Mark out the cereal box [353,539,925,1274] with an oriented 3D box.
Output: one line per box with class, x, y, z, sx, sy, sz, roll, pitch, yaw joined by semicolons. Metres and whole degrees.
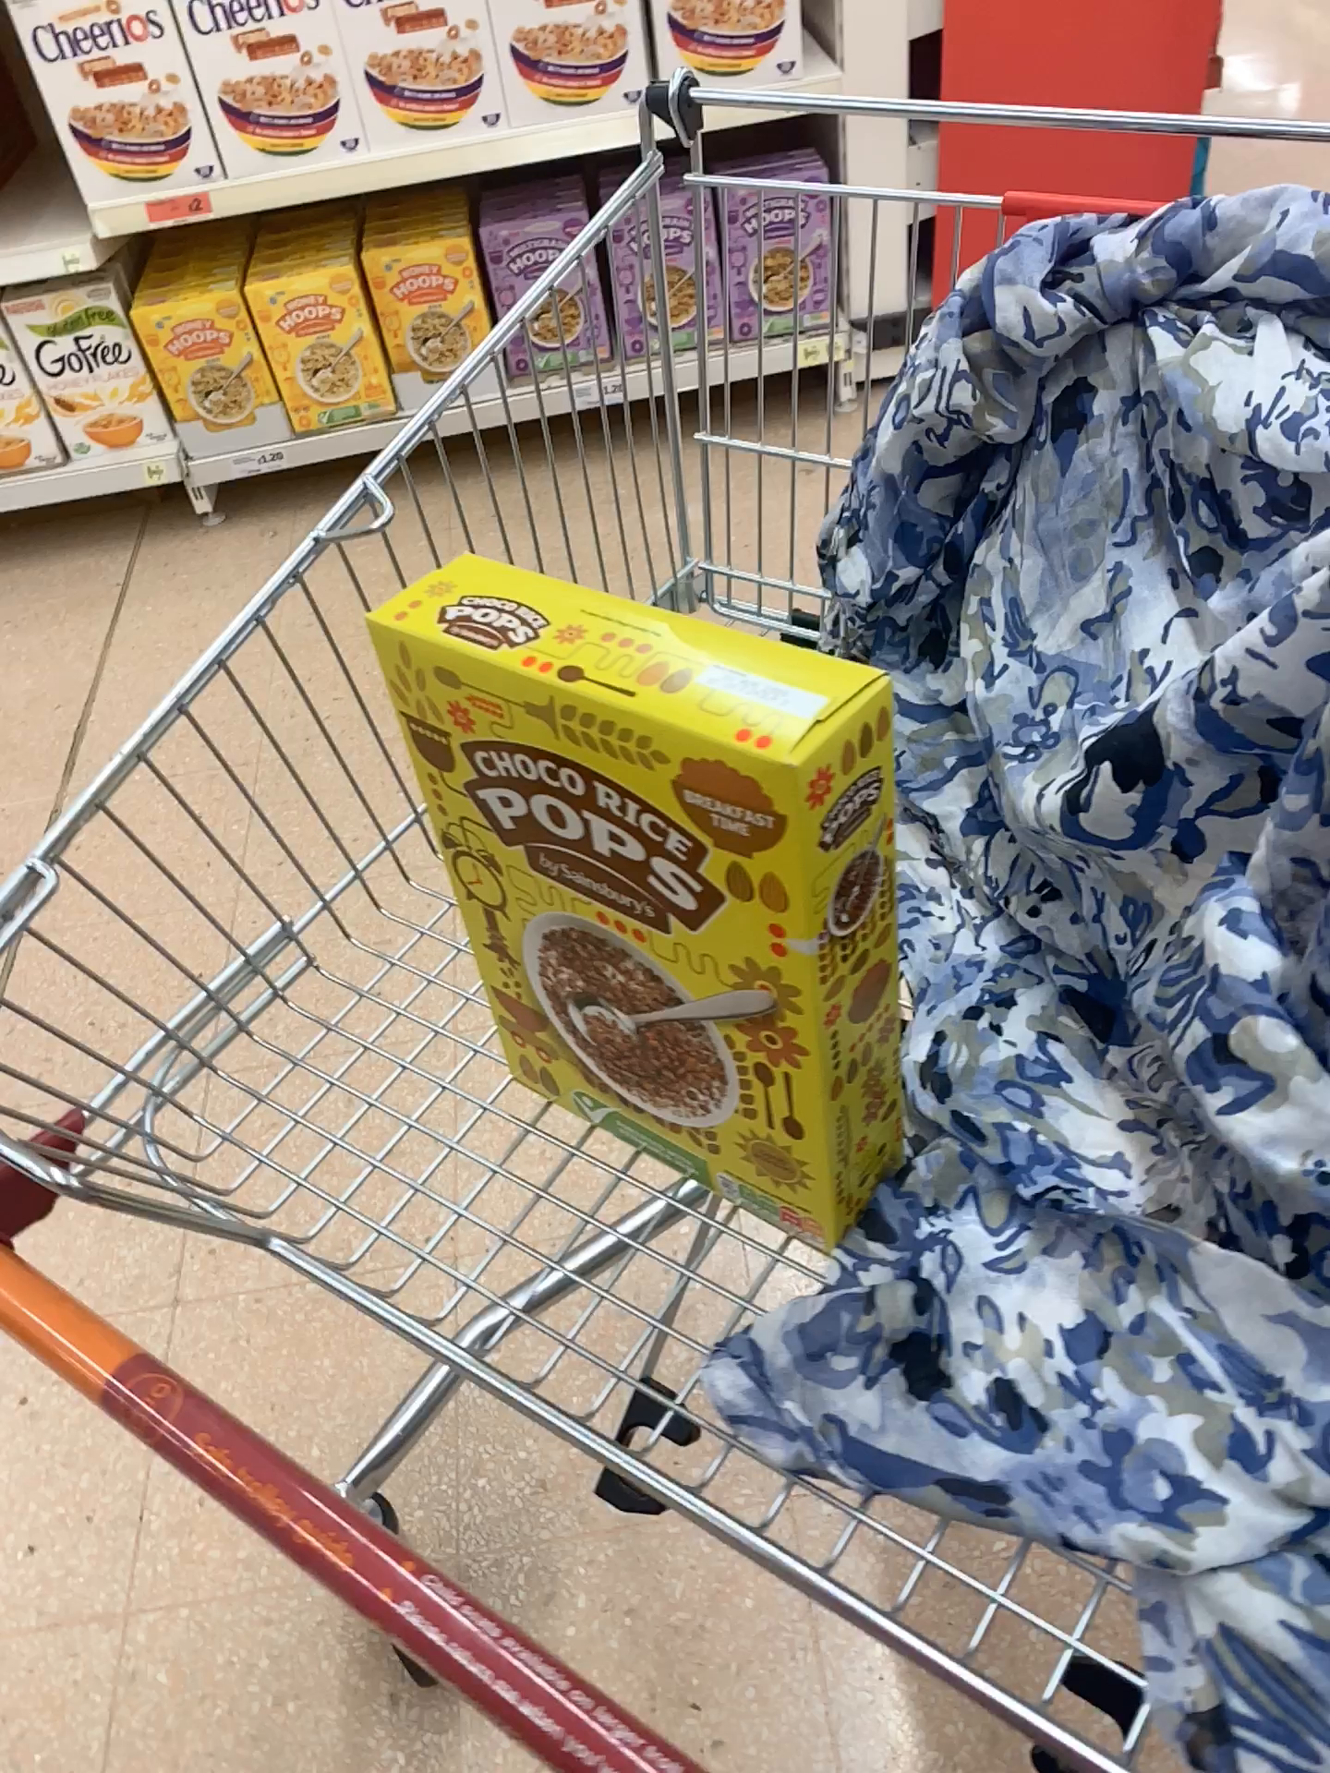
cereal box;-0.003;0.014;0.553;0.201;0.267;0.060;23;50;29
